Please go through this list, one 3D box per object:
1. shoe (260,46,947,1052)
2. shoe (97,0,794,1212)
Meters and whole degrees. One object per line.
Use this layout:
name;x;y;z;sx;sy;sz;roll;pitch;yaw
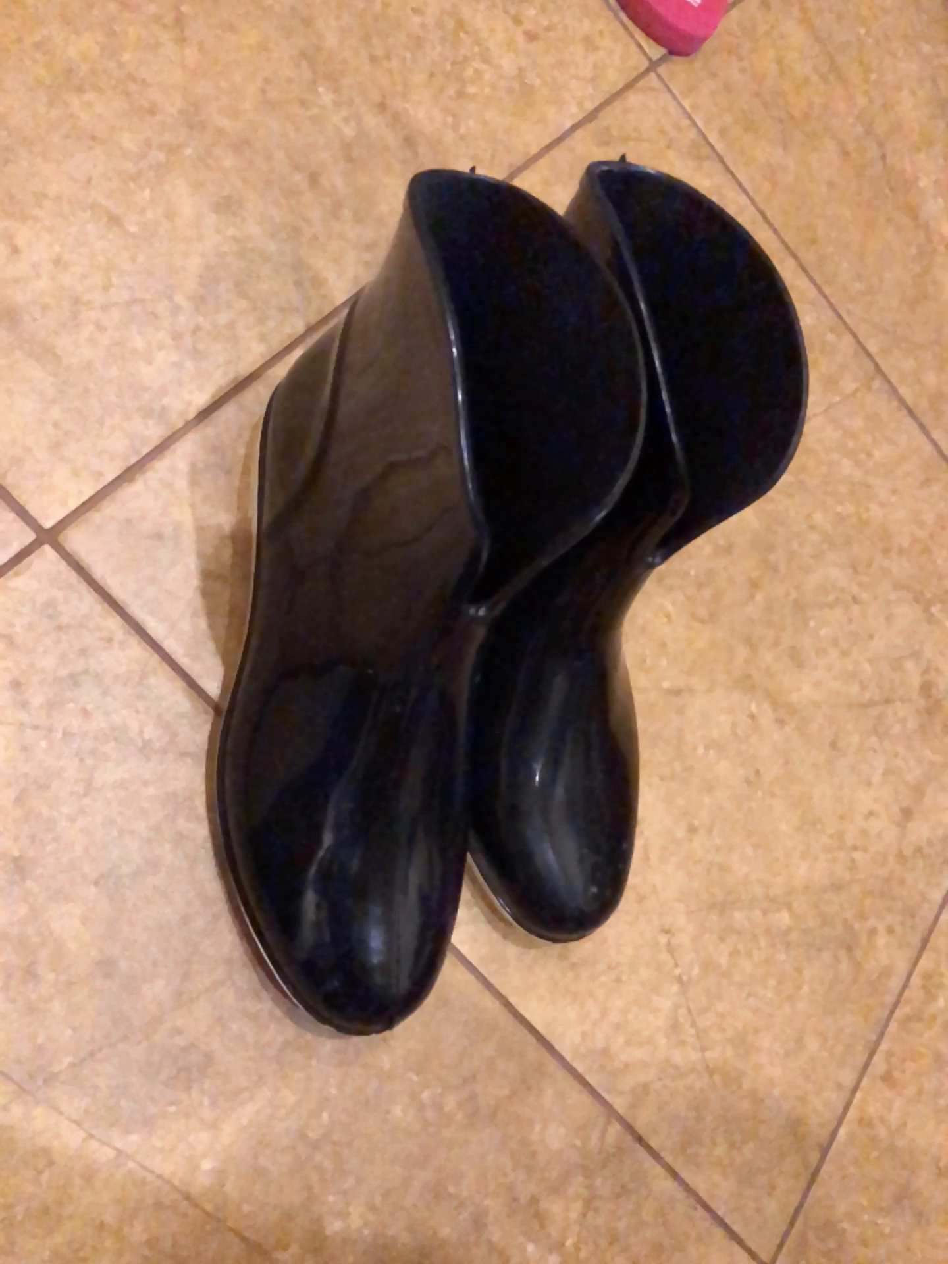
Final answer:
shoe;0.029;-0.013;0.406;0.110;0.229;0.280;-8;82;-30
shoe;-0.042;-0.005;0.347;0.110;0.229;0.280;-1;78;-29
